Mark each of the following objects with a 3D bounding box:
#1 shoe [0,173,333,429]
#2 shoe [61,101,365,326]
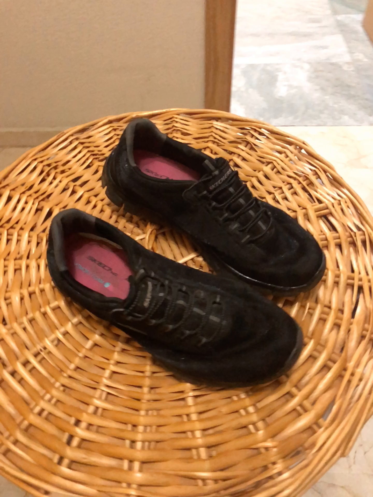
[{"bbox_3d":[-0.026,0.035,0.367,0.264,0.079,0.118,20,57,16],"label":"shoe"},{"bbox_3d":[0.020,-0.048,0.422,0.264,0.079,0.118,26,59,20],"label":"shoe"}]
